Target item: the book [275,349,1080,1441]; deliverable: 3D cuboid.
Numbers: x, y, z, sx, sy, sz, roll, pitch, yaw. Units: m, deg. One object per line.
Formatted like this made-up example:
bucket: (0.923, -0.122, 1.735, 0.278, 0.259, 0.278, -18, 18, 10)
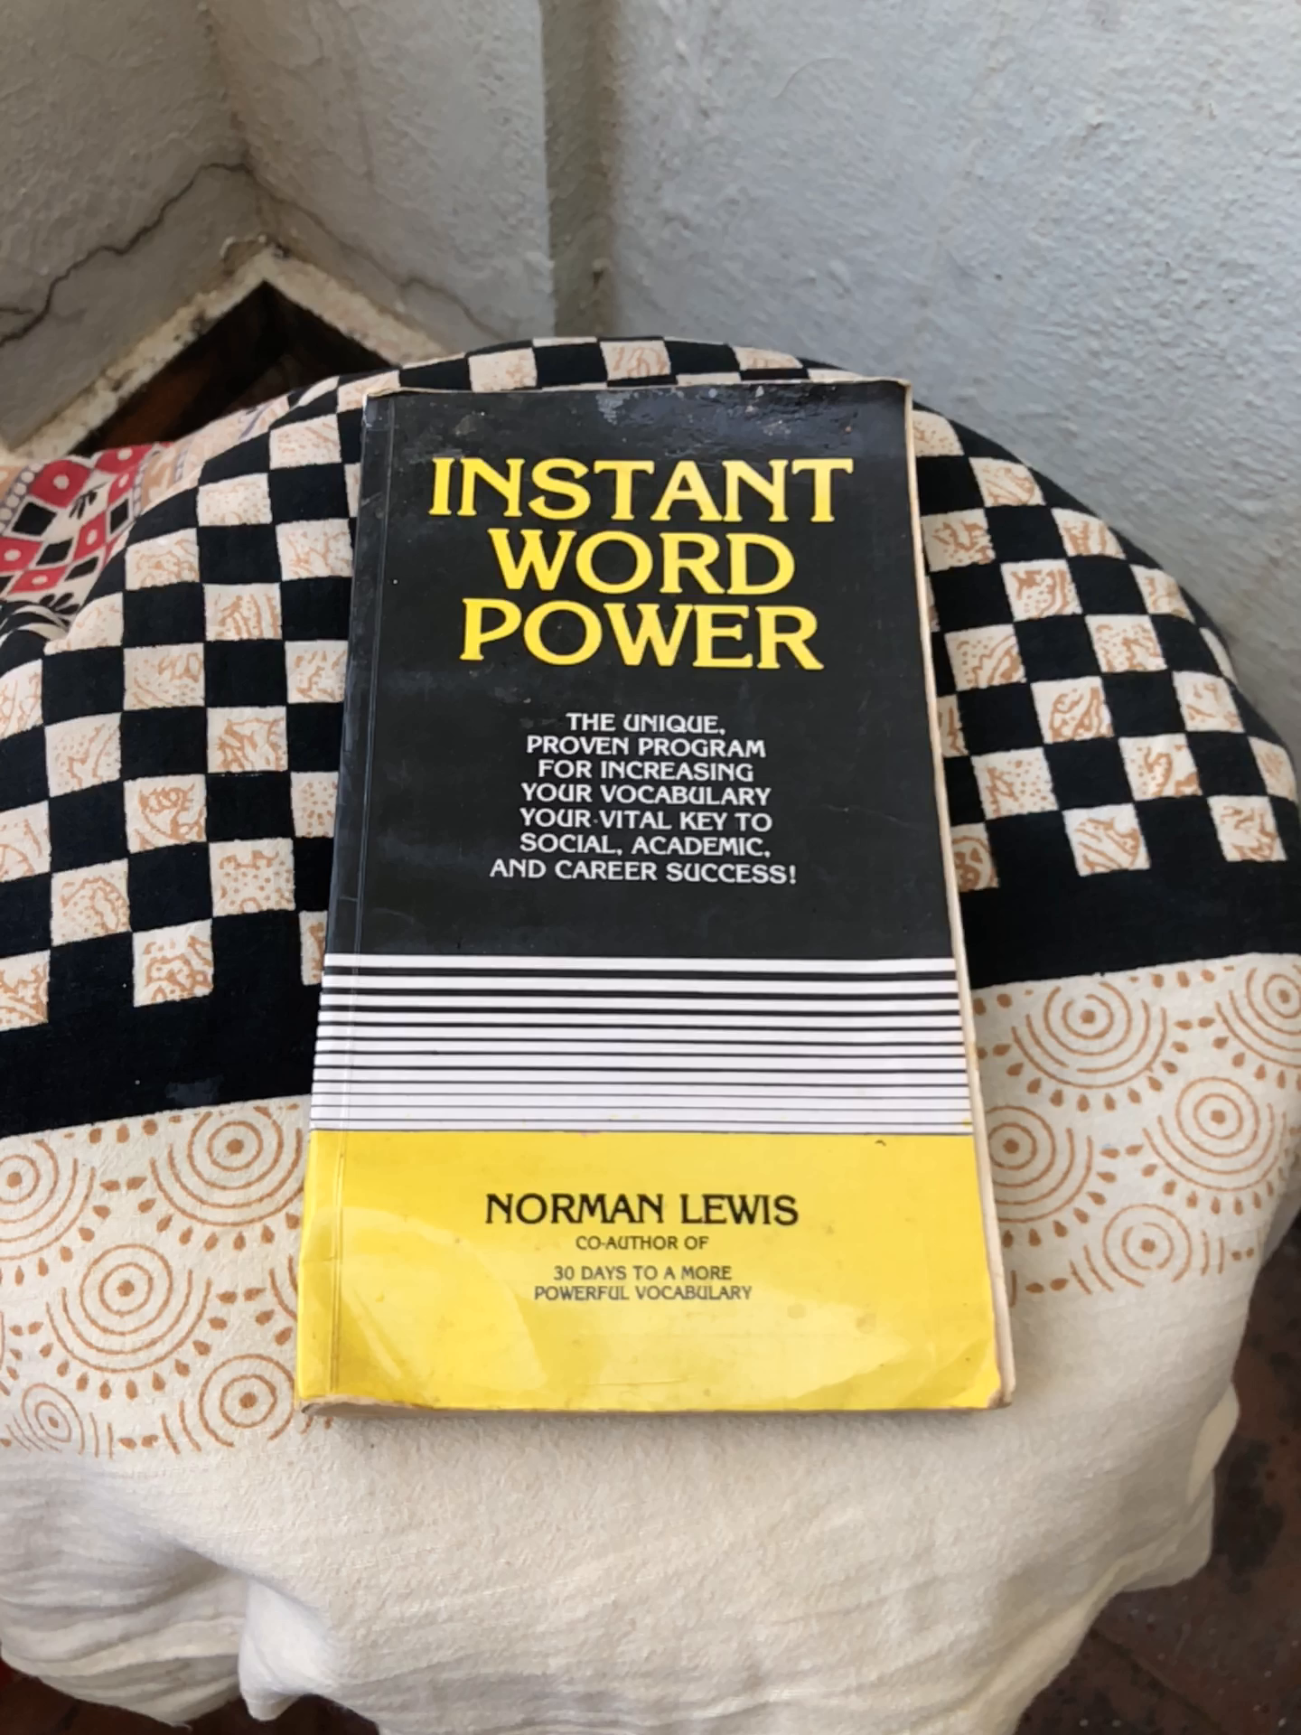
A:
book: (0.001, -0.015, 0.380, 0.160, 0.040, 0.300, -1, 60, -3)
